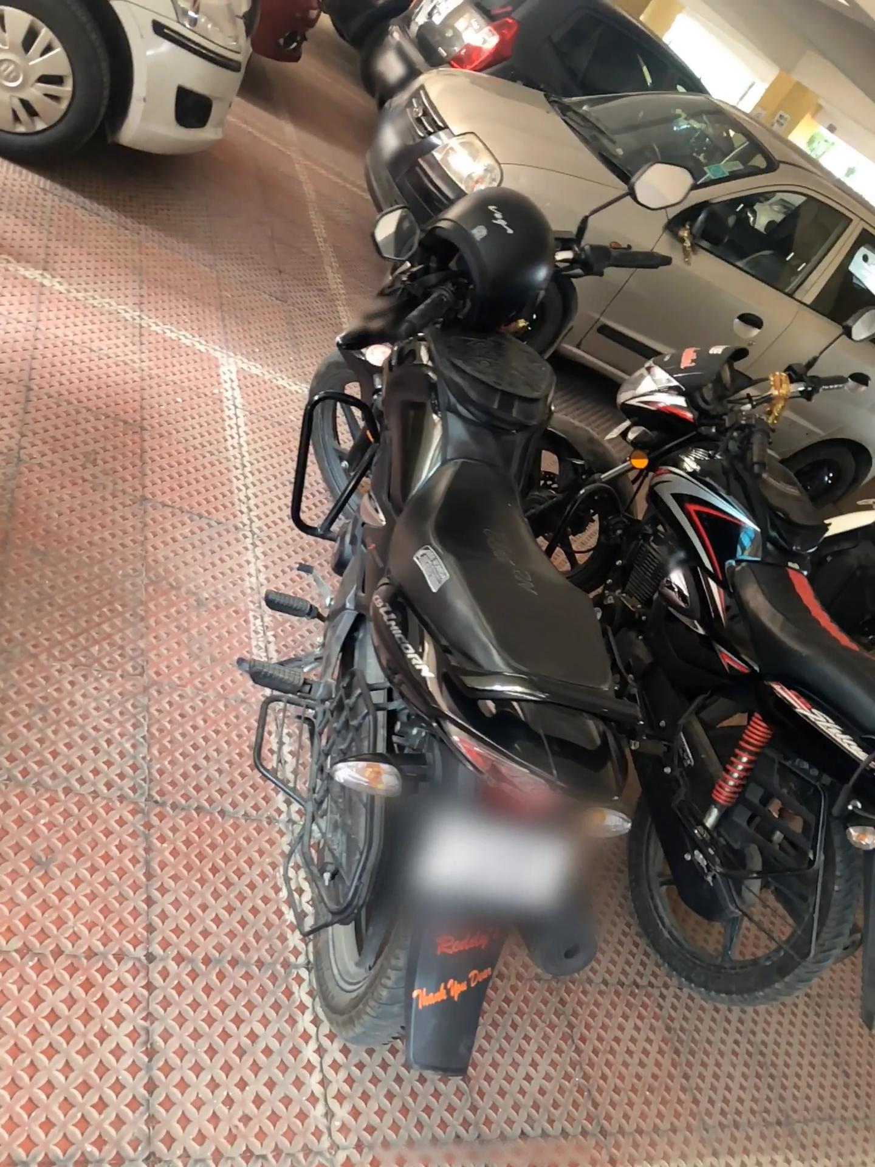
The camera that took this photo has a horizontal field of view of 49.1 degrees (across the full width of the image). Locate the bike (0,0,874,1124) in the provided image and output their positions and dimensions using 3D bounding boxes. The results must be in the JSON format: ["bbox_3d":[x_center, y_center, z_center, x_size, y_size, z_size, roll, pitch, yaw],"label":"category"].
[{"bbox_3d":[-0.163,-0.209,1.807,0.805,1.200,1.689,22,35,-28],"label":"bike"}]
